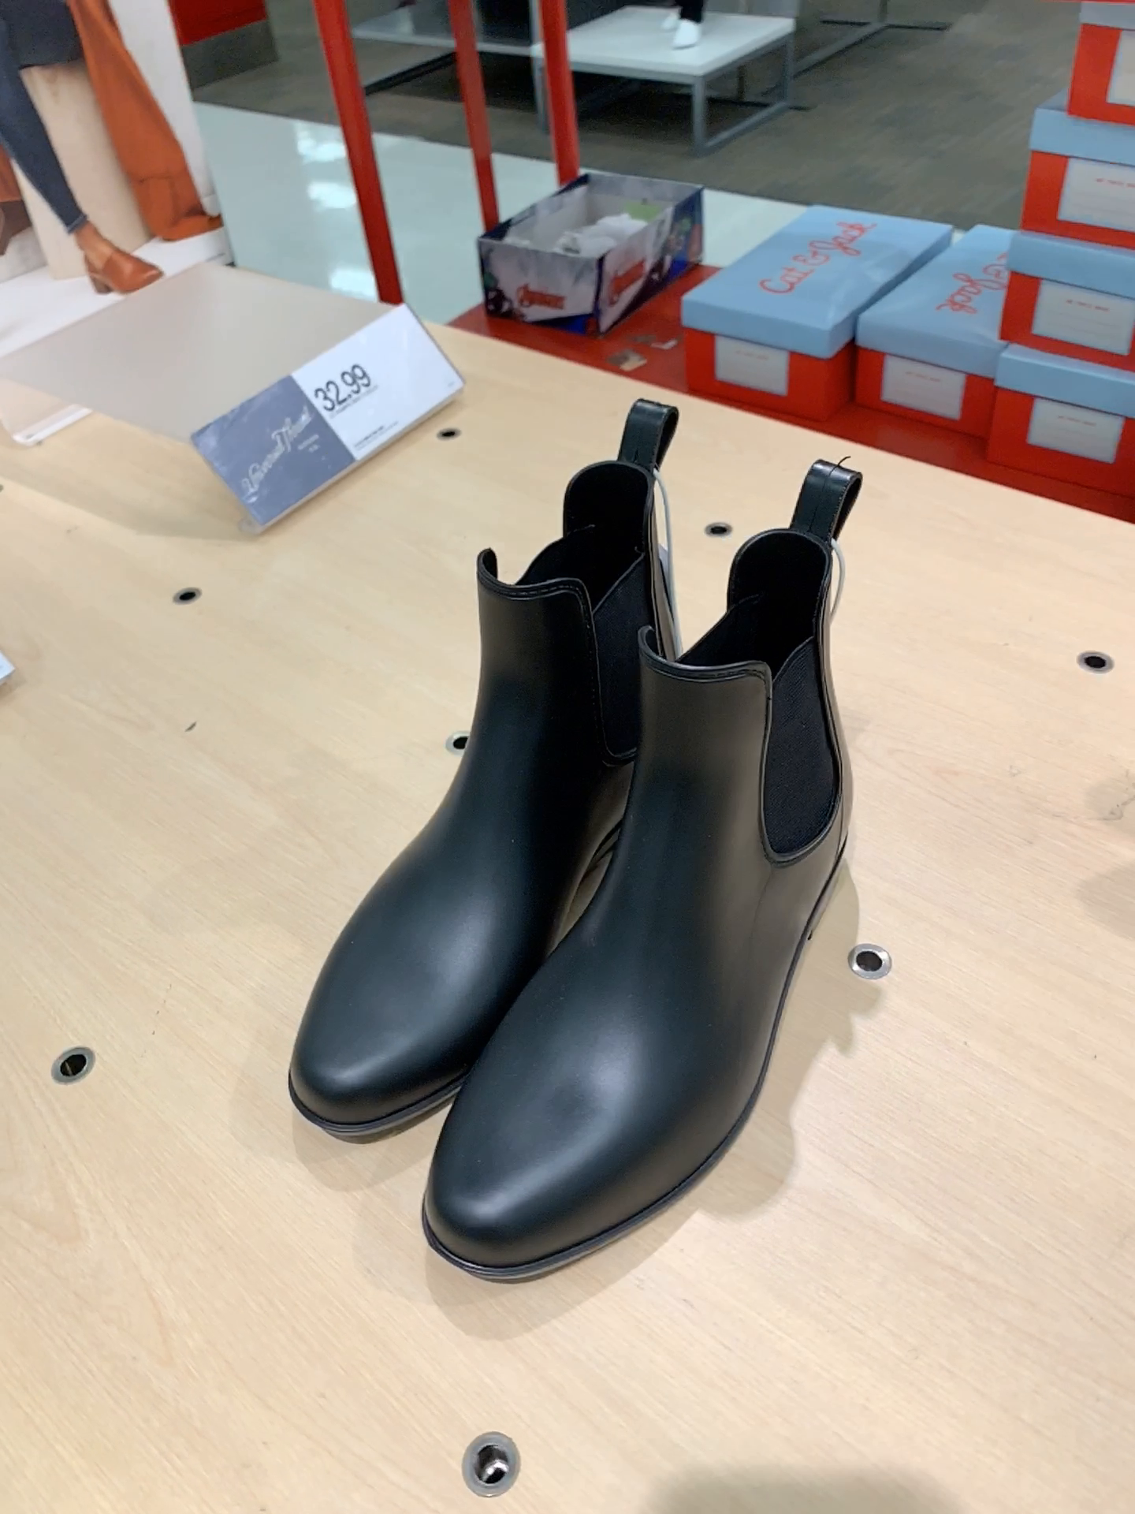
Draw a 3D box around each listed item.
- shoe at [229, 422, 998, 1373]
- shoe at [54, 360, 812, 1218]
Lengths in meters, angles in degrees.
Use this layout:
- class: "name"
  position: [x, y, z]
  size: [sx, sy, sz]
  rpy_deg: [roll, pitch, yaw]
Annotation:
- class: "shoe"
  position: [0.042, 0.038, 0.439]
  size: [0.100, 0.199, 0.286]
  rpy_deg: [24, 51, 29]
- class: "shoe"
  position: [-0.022, -0.001, 0.487]
  size: [0.113, 0.201, 0.286]
  rpy_deg: [24, 51, 29]
